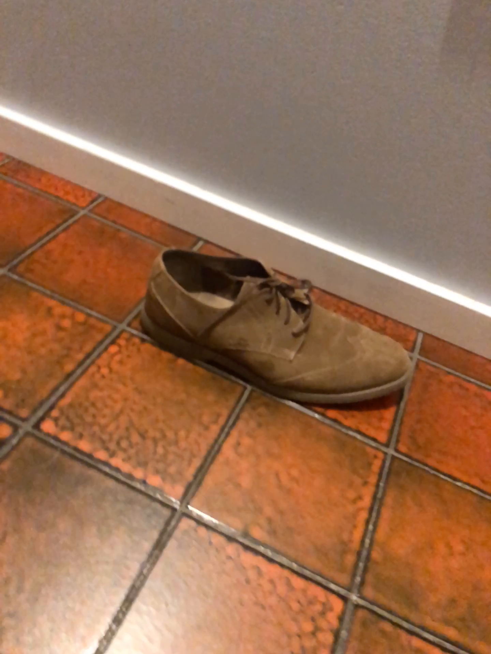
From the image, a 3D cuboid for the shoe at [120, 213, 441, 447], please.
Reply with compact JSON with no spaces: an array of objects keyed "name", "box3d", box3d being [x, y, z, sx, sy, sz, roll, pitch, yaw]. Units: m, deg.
[{"name":"shoe","box3d":[0.036,-0.001,0.567,0.300,0.100,0.120,19,43,3]}]
